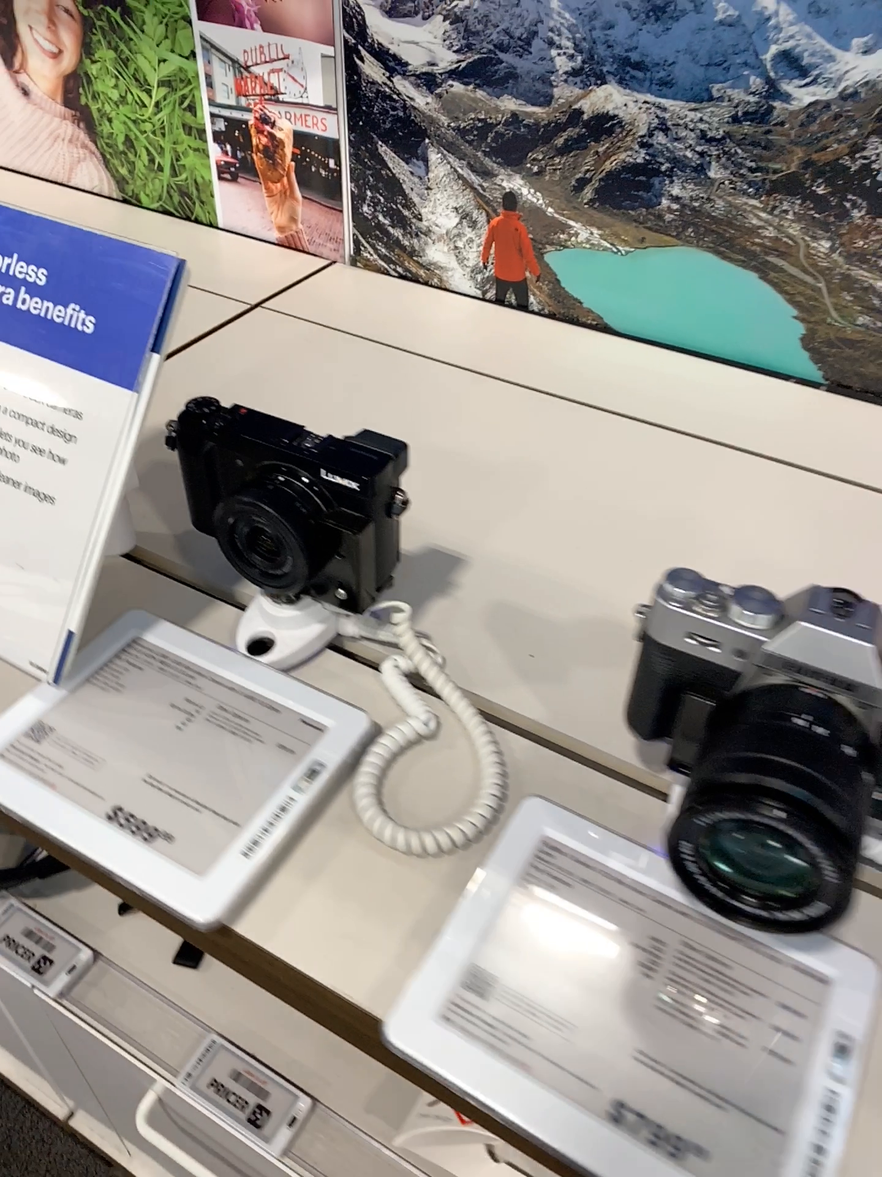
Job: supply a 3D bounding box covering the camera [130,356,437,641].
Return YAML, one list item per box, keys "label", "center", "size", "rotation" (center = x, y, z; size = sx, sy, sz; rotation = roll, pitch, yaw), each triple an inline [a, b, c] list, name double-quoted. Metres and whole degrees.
- label: "camera"
  center: [-0.072, -0.046, 0.438]
  size: [0.120, 0.080, 0.070]
  rotation: [22, 46, 21]

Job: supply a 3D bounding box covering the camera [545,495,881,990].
- label: "camera"
  center: [0.121, 0.047, 0.332]
  size: [0.120, 0.080, 0.120]
  rotation: [21, 46, 20]
